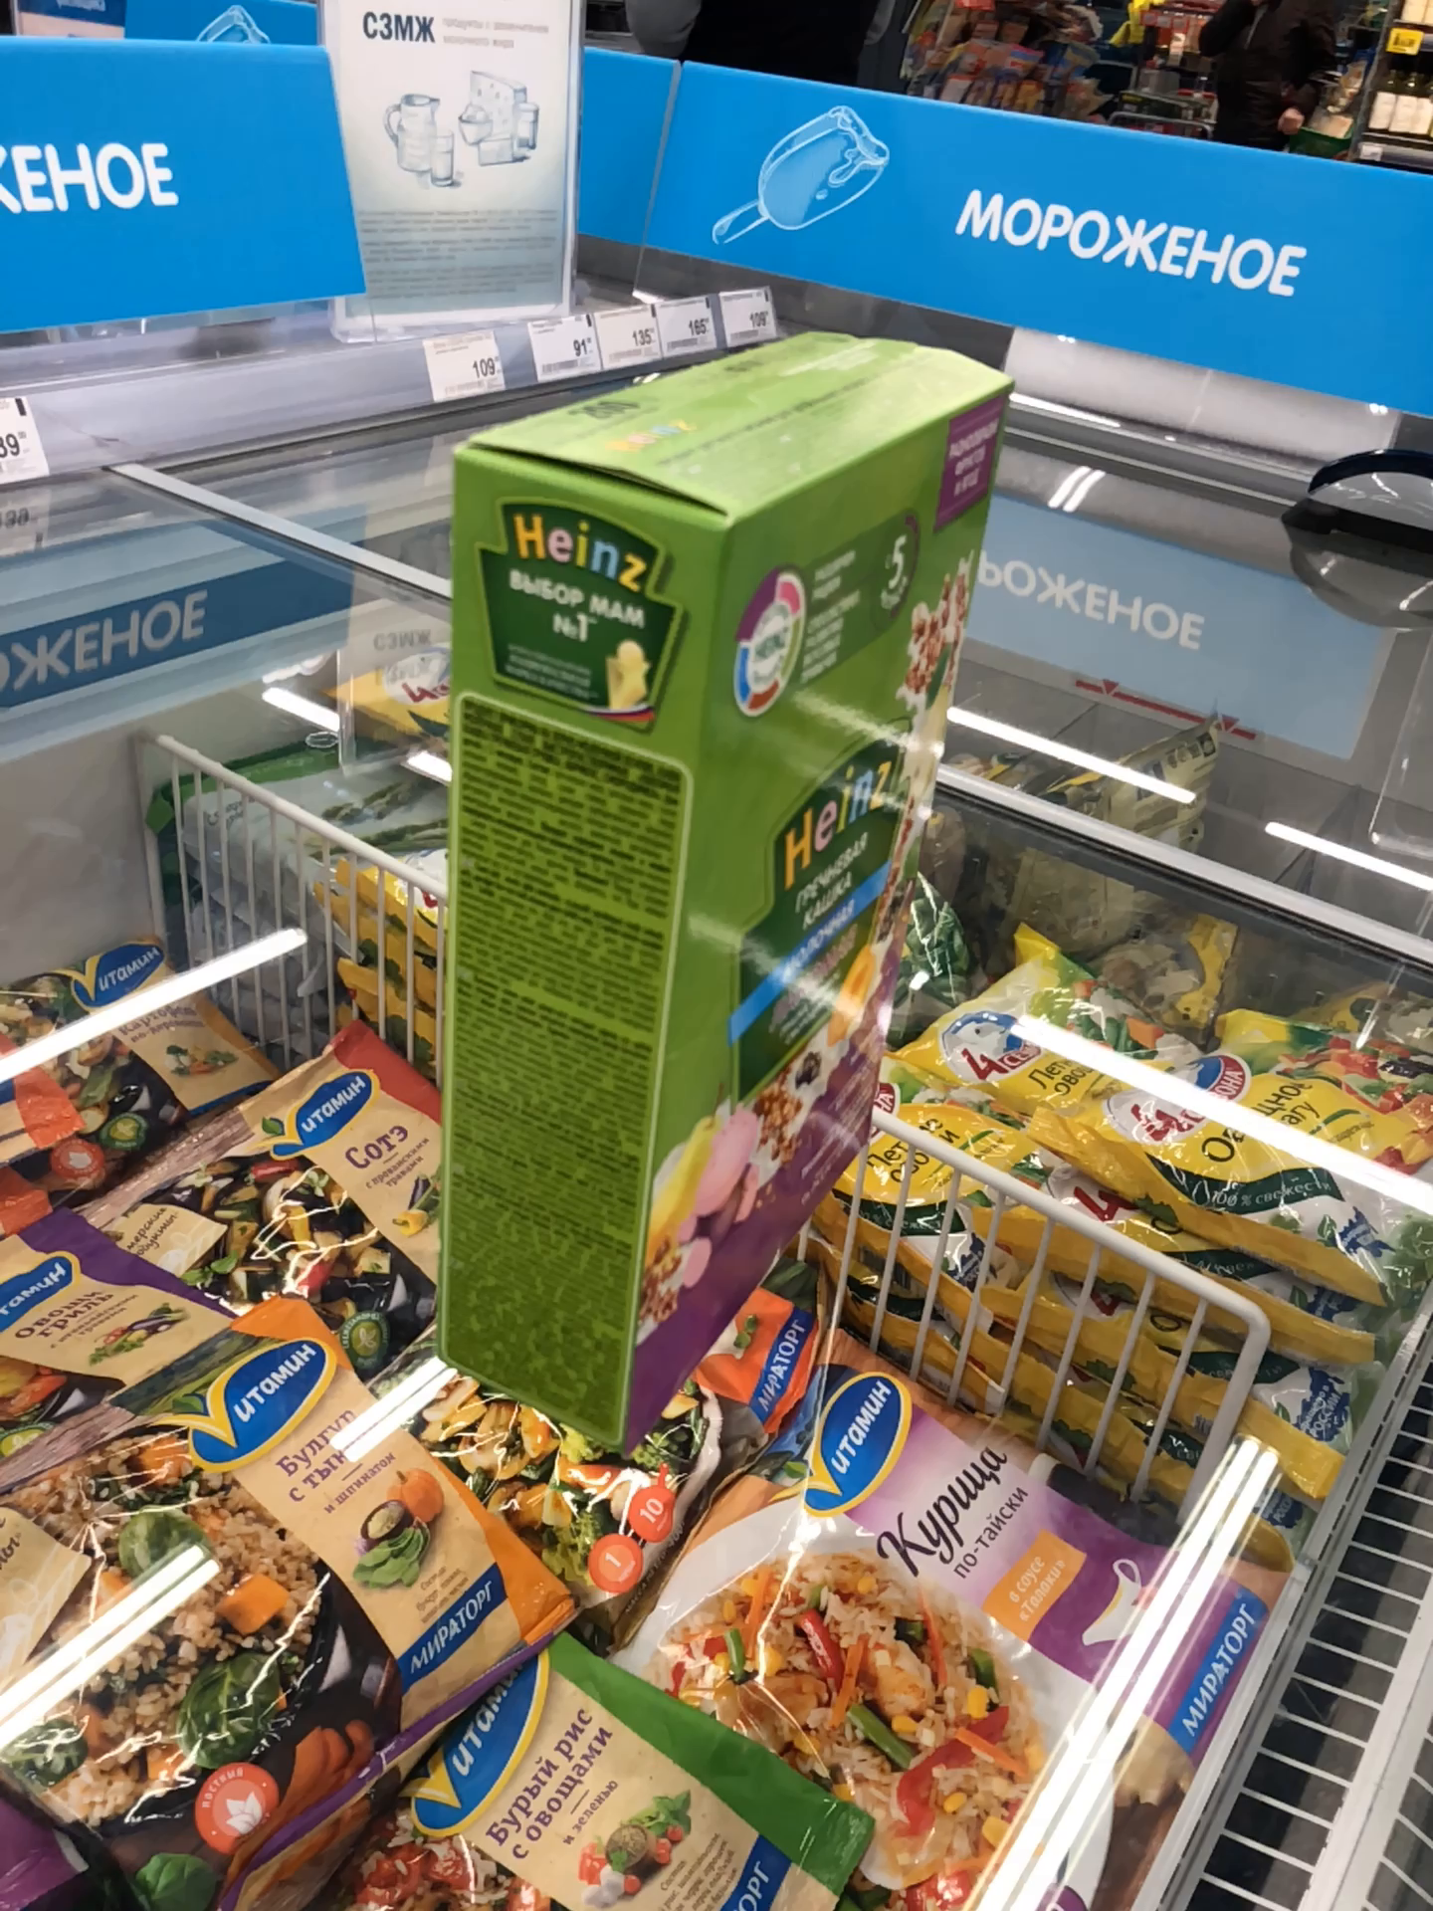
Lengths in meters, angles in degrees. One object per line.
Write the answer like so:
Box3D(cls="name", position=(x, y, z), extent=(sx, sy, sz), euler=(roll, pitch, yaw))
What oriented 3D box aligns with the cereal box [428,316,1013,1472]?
Box3D(cls="cereal box", position=(-0.001, -0.016, 0.327), extent=(0.050, 0.199, 0.131), euler=(19, 33, 19))
